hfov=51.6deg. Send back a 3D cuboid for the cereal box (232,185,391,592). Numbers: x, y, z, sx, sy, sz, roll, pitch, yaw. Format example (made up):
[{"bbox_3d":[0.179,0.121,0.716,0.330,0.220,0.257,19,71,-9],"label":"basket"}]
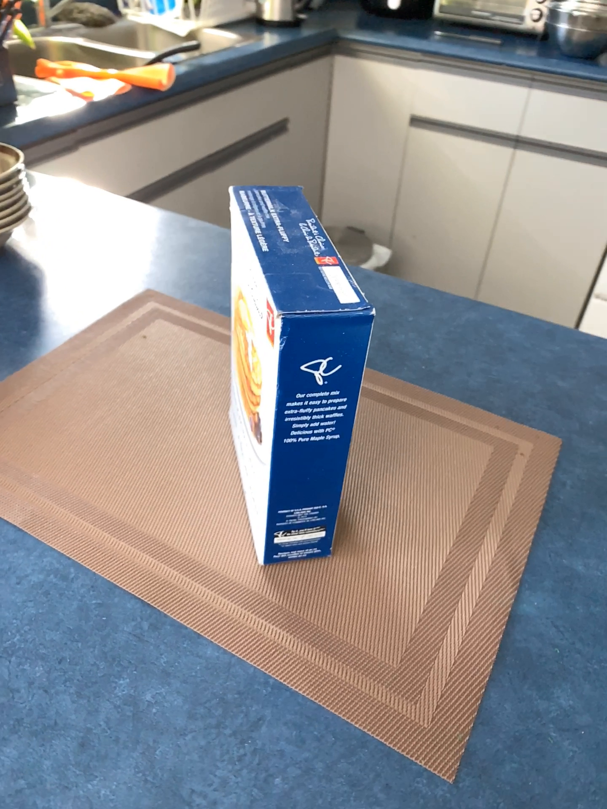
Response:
[{"bbox_3d":[-0.009,-0.012,0.422,0.050,0.208,0.171,-6,40,-13],"label":"cereal box"}]
